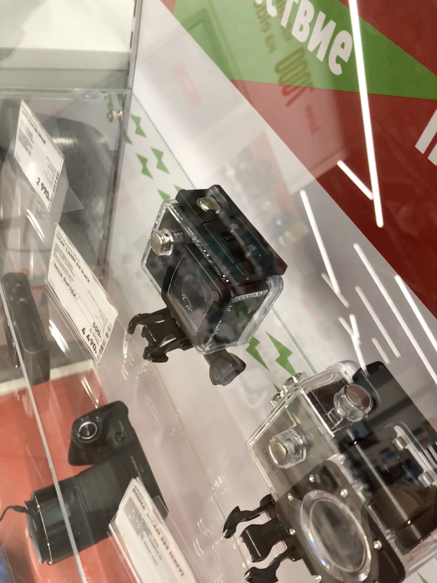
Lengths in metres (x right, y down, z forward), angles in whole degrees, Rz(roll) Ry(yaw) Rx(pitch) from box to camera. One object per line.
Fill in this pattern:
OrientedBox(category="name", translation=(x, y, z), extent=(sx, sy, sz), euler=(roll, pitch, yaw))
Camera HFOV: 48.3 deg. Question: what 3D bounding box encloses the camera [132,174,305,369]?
OrientedBox(category="camera", translation=(-0.004, -0.012, 0.239), extent=(0.033, 0.055, 0.074), euler=(-14, 55, -38))
